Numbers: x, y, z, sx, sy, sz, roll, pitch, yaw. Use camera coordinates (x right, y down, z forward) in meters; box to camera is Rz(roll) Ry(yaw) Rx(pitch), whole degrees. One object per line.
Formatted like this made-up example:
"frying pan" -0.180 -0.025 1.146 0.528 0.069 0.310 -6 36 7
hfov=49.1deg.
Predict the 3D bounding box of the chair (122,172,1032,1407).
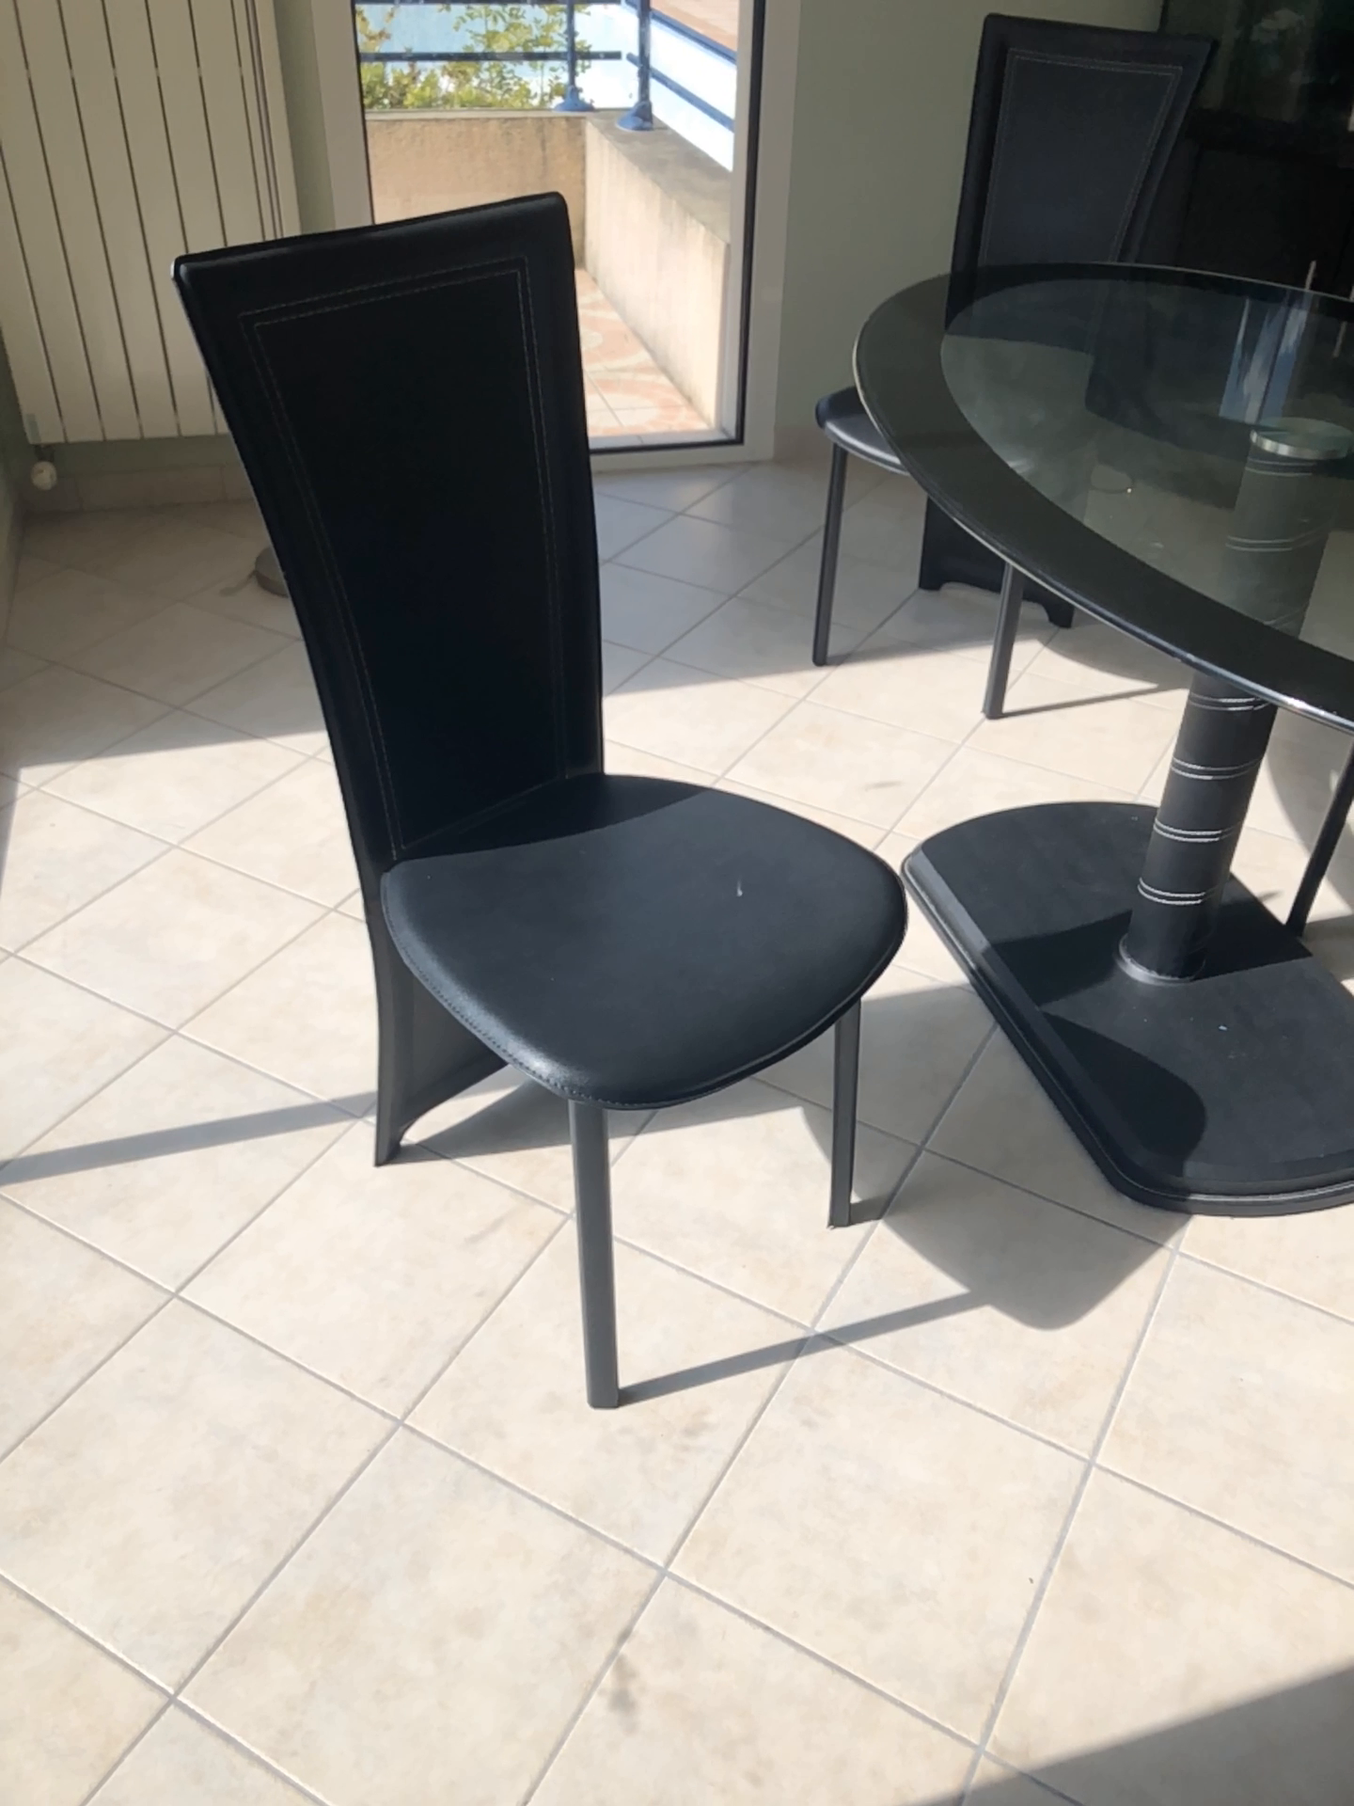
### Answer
"chair" -0.079 -0.111 1.346 0.452 0.895 0.501 -29 44 -35
